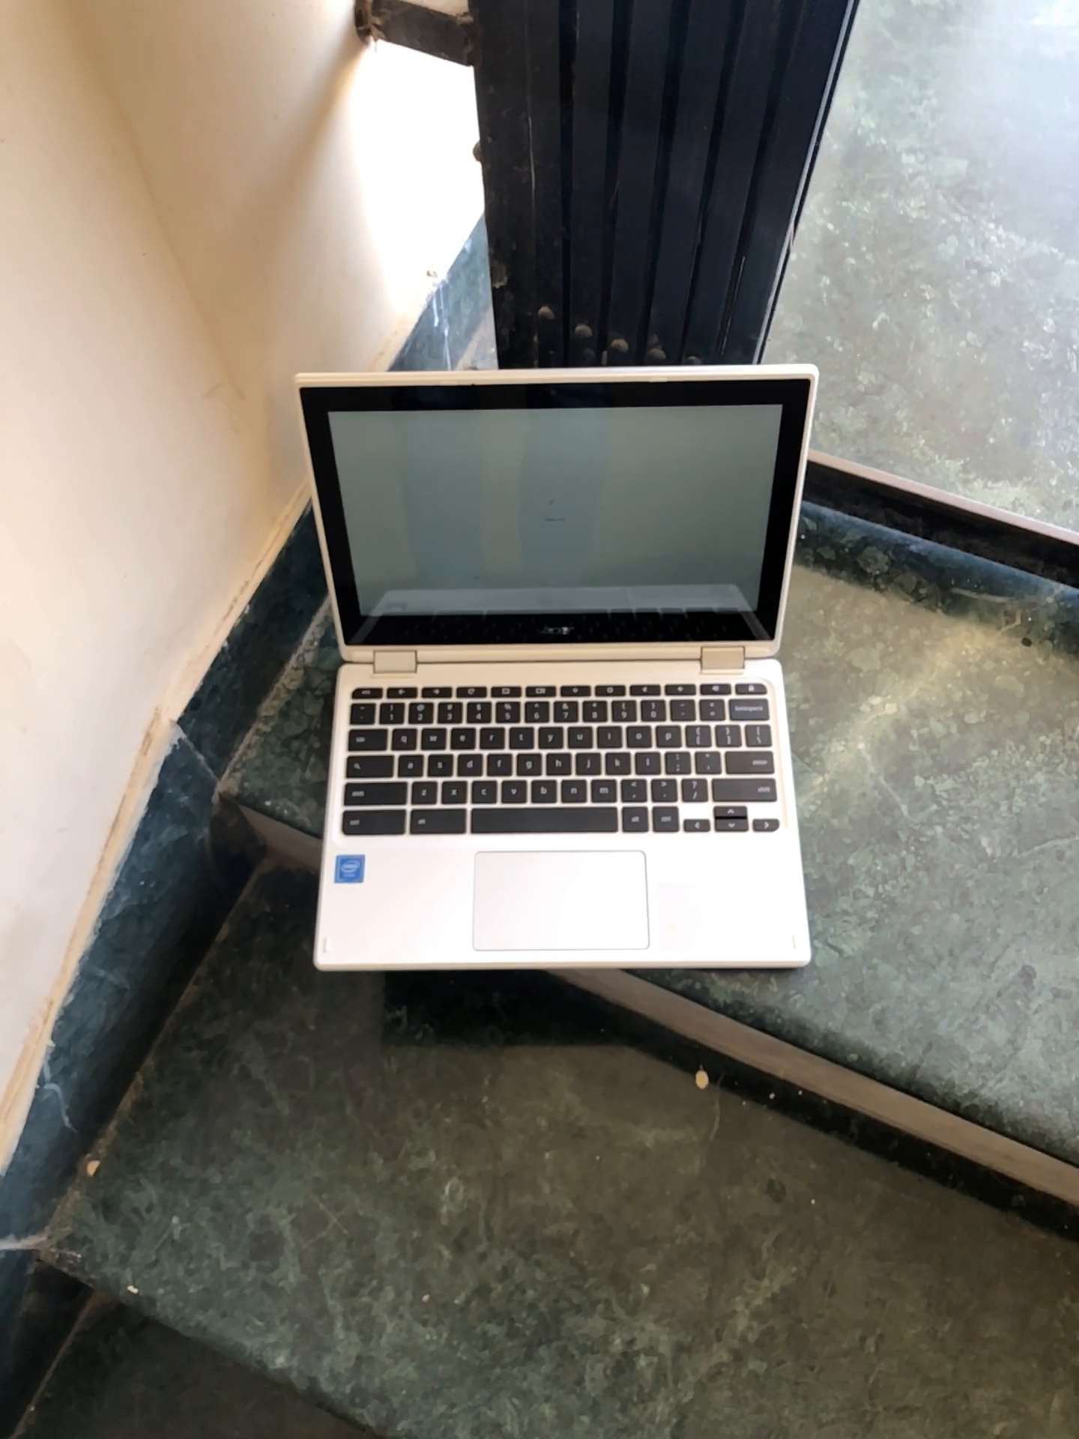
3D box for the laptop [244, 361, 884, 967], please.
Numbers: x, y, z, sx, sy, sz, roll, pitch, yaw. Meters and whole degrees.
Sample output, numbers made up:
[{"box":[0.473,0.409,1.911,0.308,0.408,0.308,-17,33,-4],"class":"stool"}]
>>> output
[{"box":[0.012,-0.025,0.654,0.278,0.178,0.272,-1,64,1],"class":"laptop"}]
